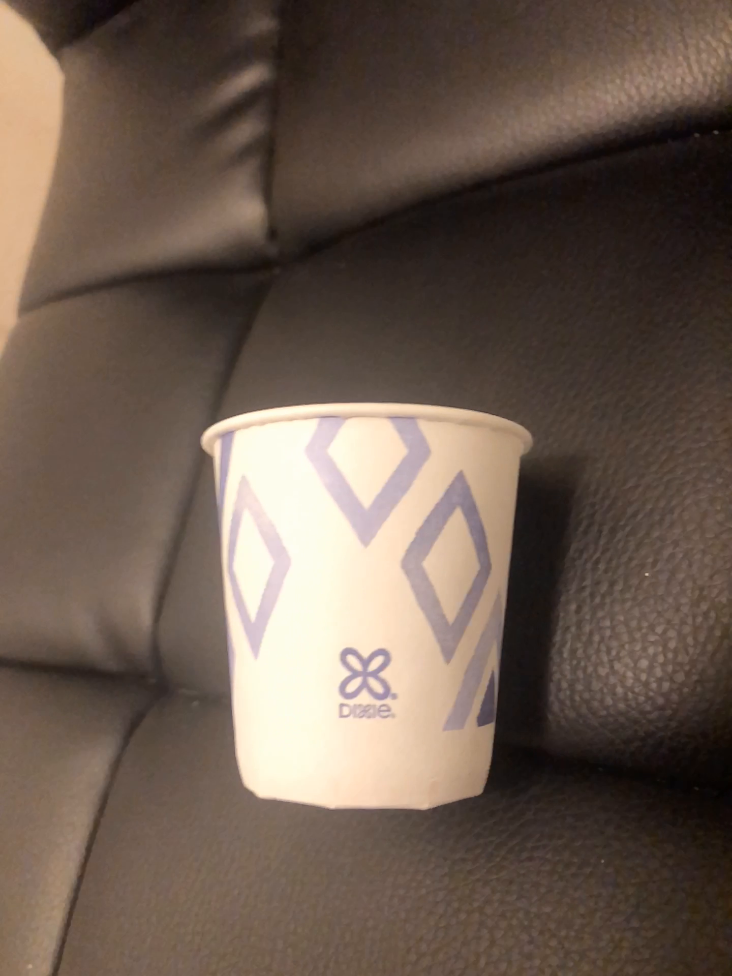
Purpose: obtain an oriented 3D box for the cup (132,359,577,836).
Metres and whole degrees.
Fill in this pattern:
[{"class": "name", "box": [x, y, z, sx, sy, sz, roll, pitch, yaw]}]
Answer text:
[{"class": "cup", "box": [-0.001, 0.017, 0.138, 0.052, 0.049, 0.058, -5, 81, 39]}]
